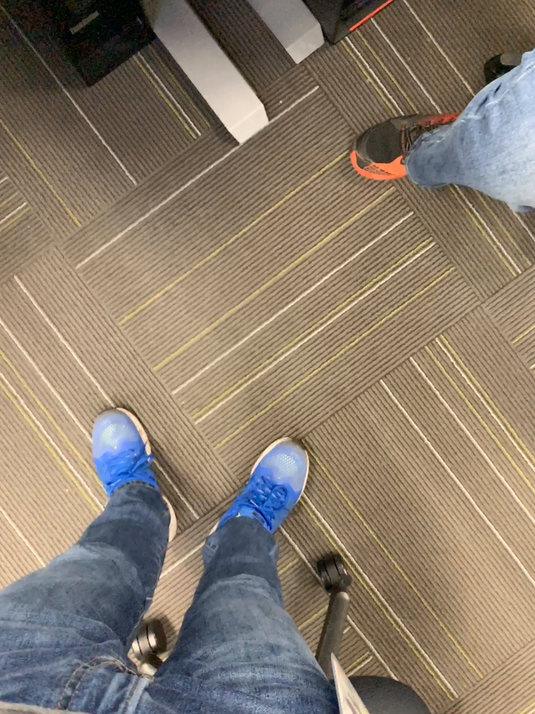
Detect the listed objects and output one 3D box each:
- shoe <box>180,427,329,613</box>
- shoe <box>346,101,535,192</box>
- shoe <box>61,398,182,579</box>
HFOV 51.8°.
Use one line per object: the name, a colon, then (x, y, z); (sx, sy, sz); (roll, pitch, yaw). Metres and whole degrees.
shoe: (-0.024, 0.318, 1.086); (0.119, 0.088, 0.339); (33, 98, 0)
shoe: (0.300, -0.376, 0.988); (0.304, 0.088, 0.117); (-5, 112, 3)
shoe: (-0.277, 0.254, 1.076); (0.141, 0.088, 0.310); (-13, 99, -1)
